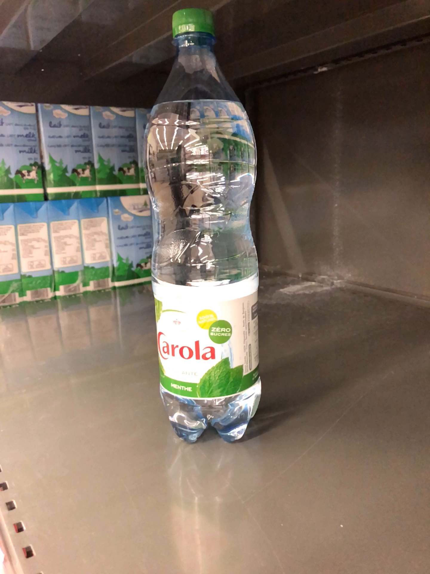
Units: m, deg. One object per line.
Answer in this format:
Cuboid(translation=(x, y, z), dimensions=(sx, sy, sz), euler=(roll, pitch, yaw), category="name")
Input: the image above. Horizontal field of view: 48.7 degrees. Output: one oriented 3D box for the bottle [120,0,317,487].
Cuboid(translation=(0.011, -0.039, 0.370), dimensions=(0.100, 0.339, 0.100), euler=(-2, 12, 0), category="bottle")
